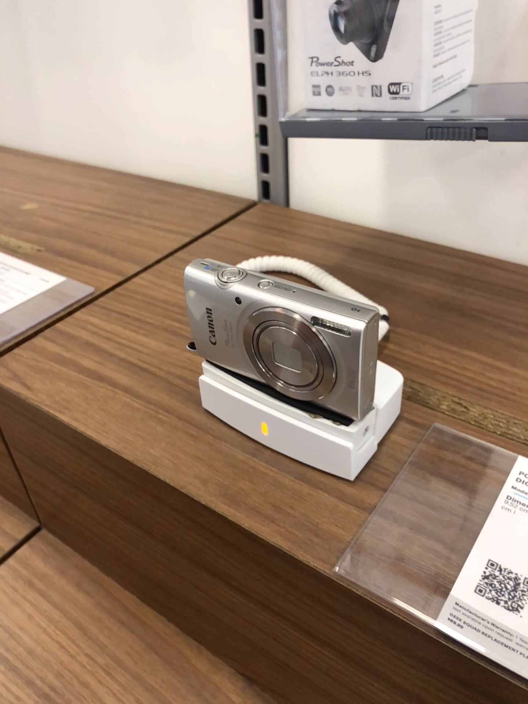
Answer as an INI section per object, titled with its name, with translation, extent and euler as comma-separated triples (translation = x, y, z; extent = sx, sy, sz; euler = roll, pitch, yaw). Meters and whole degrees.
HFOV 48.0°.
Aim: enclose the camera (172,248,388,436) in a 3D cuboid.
[camera]
translation = 0.007, -0.007, 0.276
extent = 0.100, 0.060, 0.020
euler = 21, 47, 30
